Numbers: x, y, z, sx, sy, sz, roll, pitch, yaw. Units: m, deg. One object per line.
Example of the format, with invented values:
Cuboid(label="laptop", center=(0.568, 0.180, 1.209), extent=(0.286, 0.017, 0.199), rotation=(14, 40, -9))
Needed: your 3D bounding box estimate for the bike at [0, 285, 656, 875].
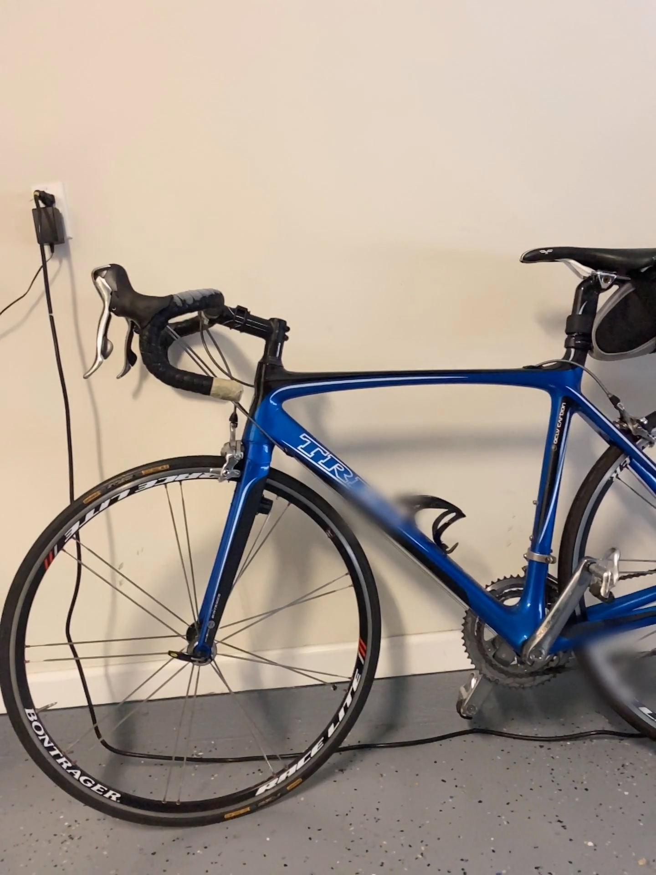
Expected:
Cuboid(label="bike", center=(0.325, 0.223, 1.099), extent=(1.638, 0.884, 0.401), rotation=(-4, 6, -9))
